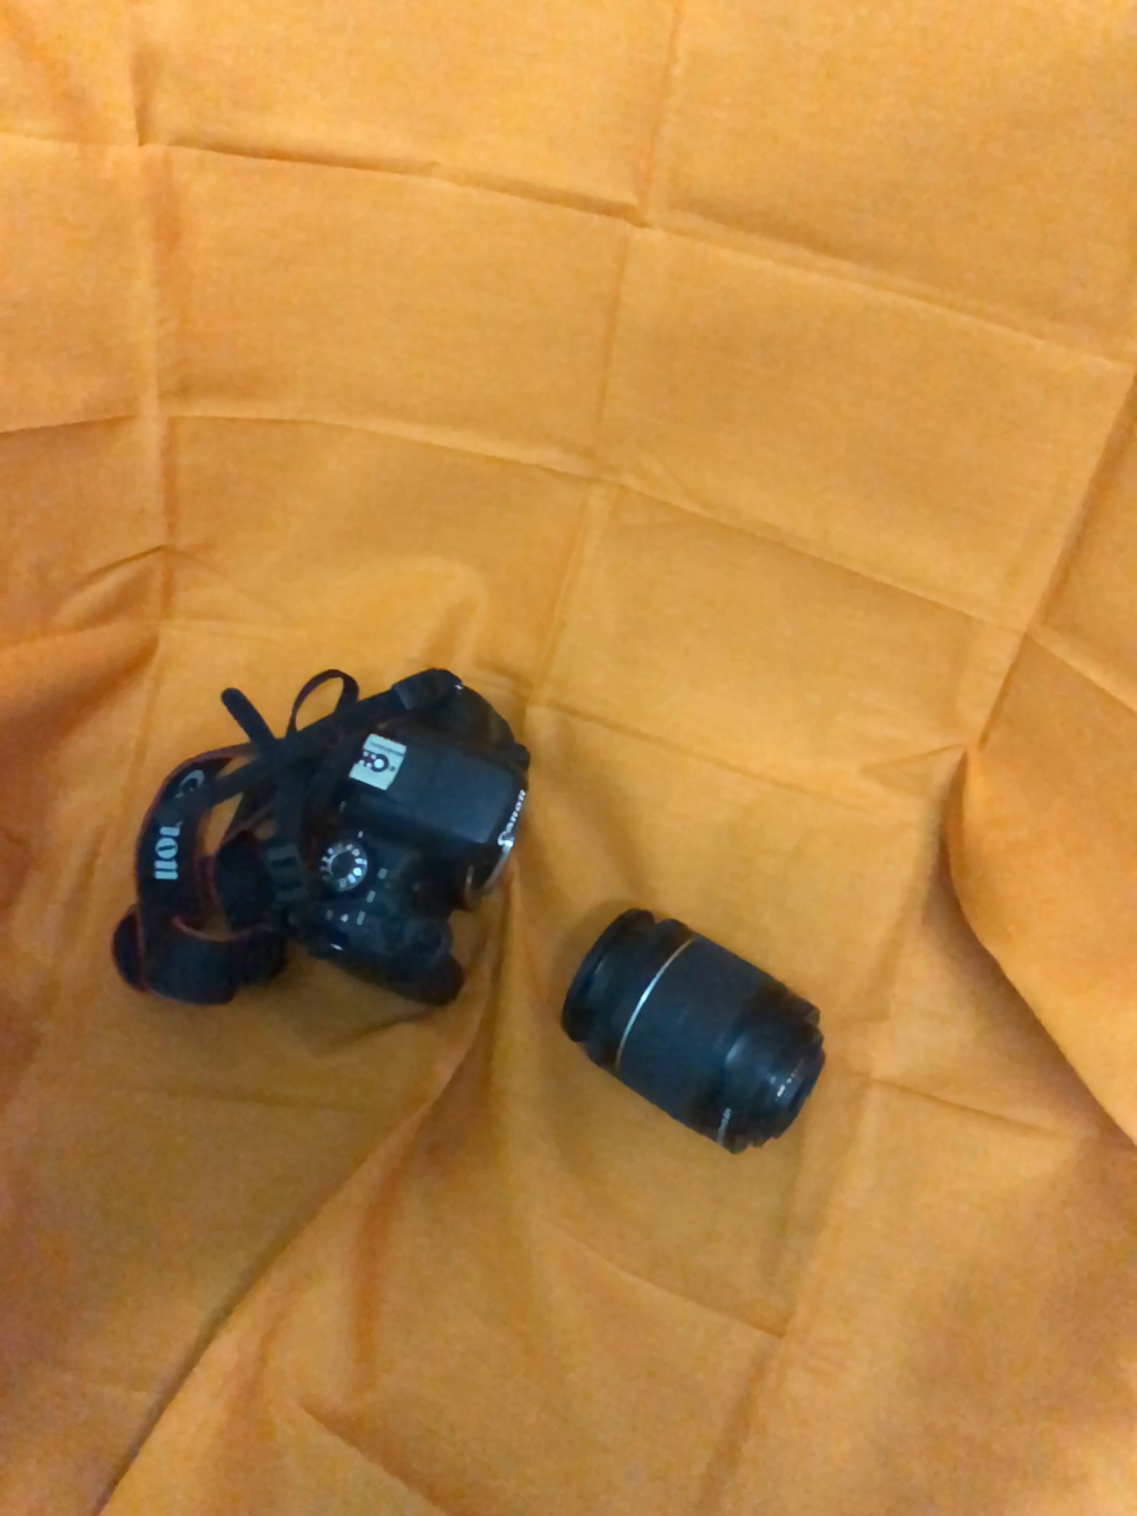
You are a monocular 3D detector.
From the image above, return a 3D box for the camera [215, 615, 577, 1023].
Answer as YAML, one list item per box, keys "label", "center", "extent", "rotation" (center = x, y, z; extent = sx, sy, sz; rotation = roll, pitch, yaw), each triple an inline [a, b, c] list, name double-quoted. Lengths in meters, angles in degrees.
- label: "camera"
  center: [-0.067, 0.026, 0.530]
  extent: [0.092, 0.071, 0.134]
  rotation: [20, 71, 12]
